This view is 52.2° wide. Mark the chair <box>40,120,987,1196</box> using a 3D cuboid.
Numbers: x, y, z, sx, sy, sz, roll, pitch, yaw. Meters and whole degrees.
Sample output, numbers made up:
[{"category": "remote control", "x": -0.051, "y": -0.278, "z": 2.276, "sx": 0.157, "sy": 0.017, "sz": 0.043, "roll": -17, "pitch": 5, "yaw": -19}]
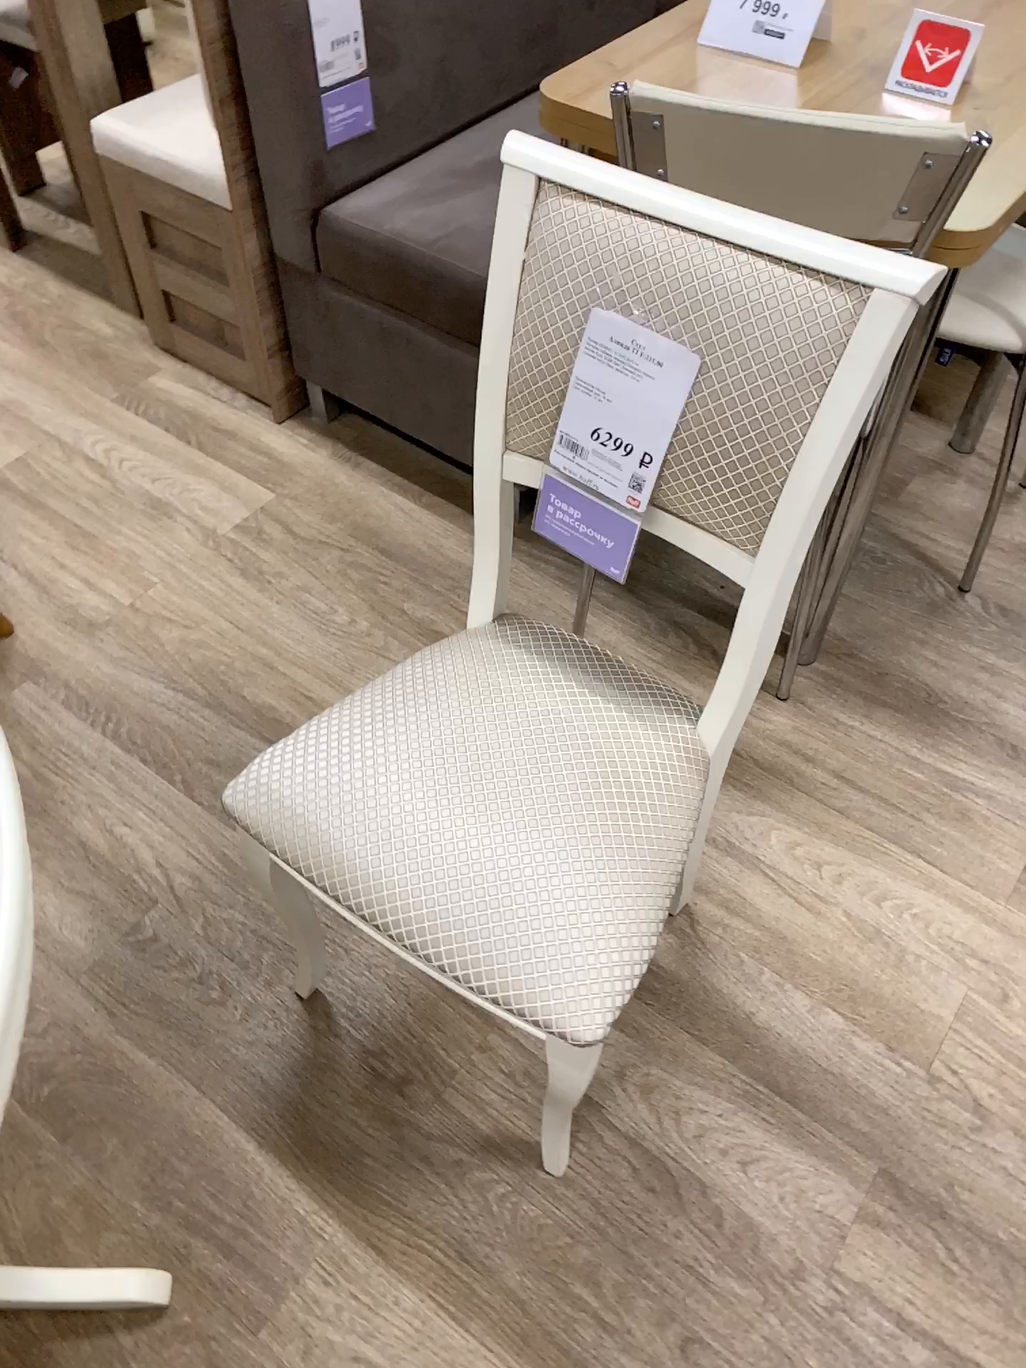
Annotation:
[{"category": "chair", "x": 0.019, "y": 0.045, "z": 1.093, "sx": 0.461, "sy": 0.926, "sz": 0.512, "roll": 28, "pitch": 55, "yaw": 20}]
